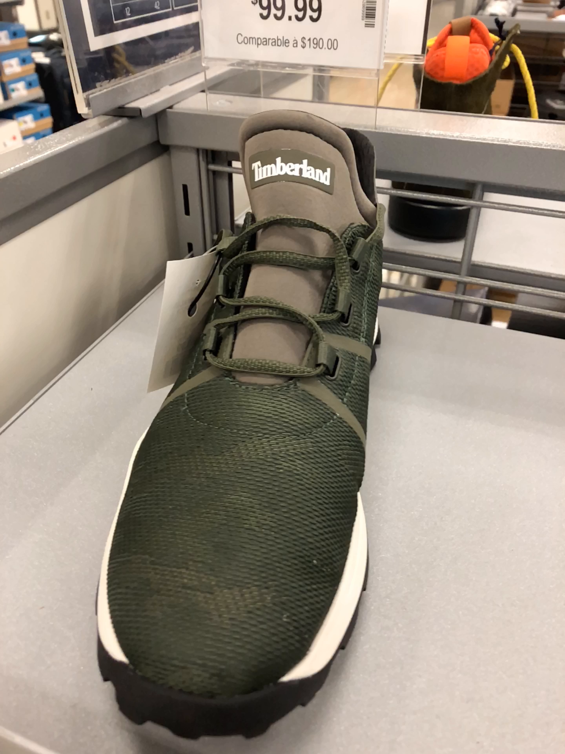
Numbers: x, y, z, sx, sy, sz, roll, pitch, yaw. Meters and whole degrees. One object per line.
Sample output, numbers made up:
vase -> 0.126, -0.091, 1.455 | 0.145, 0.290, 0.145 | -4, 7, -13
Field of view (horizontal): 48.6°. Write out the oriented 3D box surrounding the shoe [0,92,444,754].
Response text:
shoe -> -0.004, -0.017, 0.293 | 0.130, 0.149, 0.313 | 8, 36, 10
